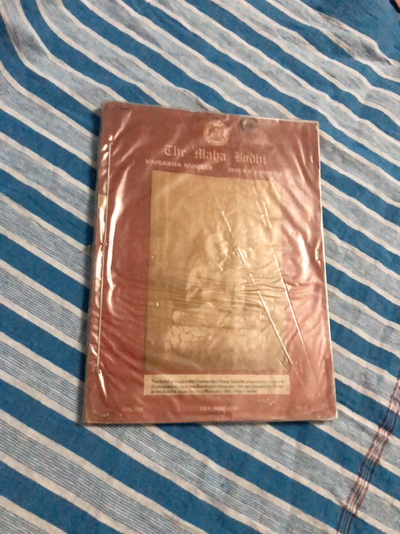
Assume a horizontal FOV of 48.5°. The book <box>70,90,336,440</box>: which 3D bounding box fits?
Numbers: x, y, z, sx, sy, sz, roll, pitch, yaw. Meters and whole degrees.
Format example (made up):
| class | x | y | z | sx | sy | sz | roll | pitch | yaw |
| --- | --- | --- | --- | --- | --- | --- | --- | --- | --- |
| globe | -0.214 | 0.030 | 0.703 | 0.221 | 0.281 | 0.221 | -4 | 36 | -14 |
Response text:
| class | x | y | z | sx | sy | sz | roll | pitch | yaw |
| --- | --- | --- | --- | --- | --- | --- | --- | --- | --- |
| book | 0.003 | -0.008 | 0.335 | 0.180 | 0.020 | 0.250 | 2 | 74 | -13 |
